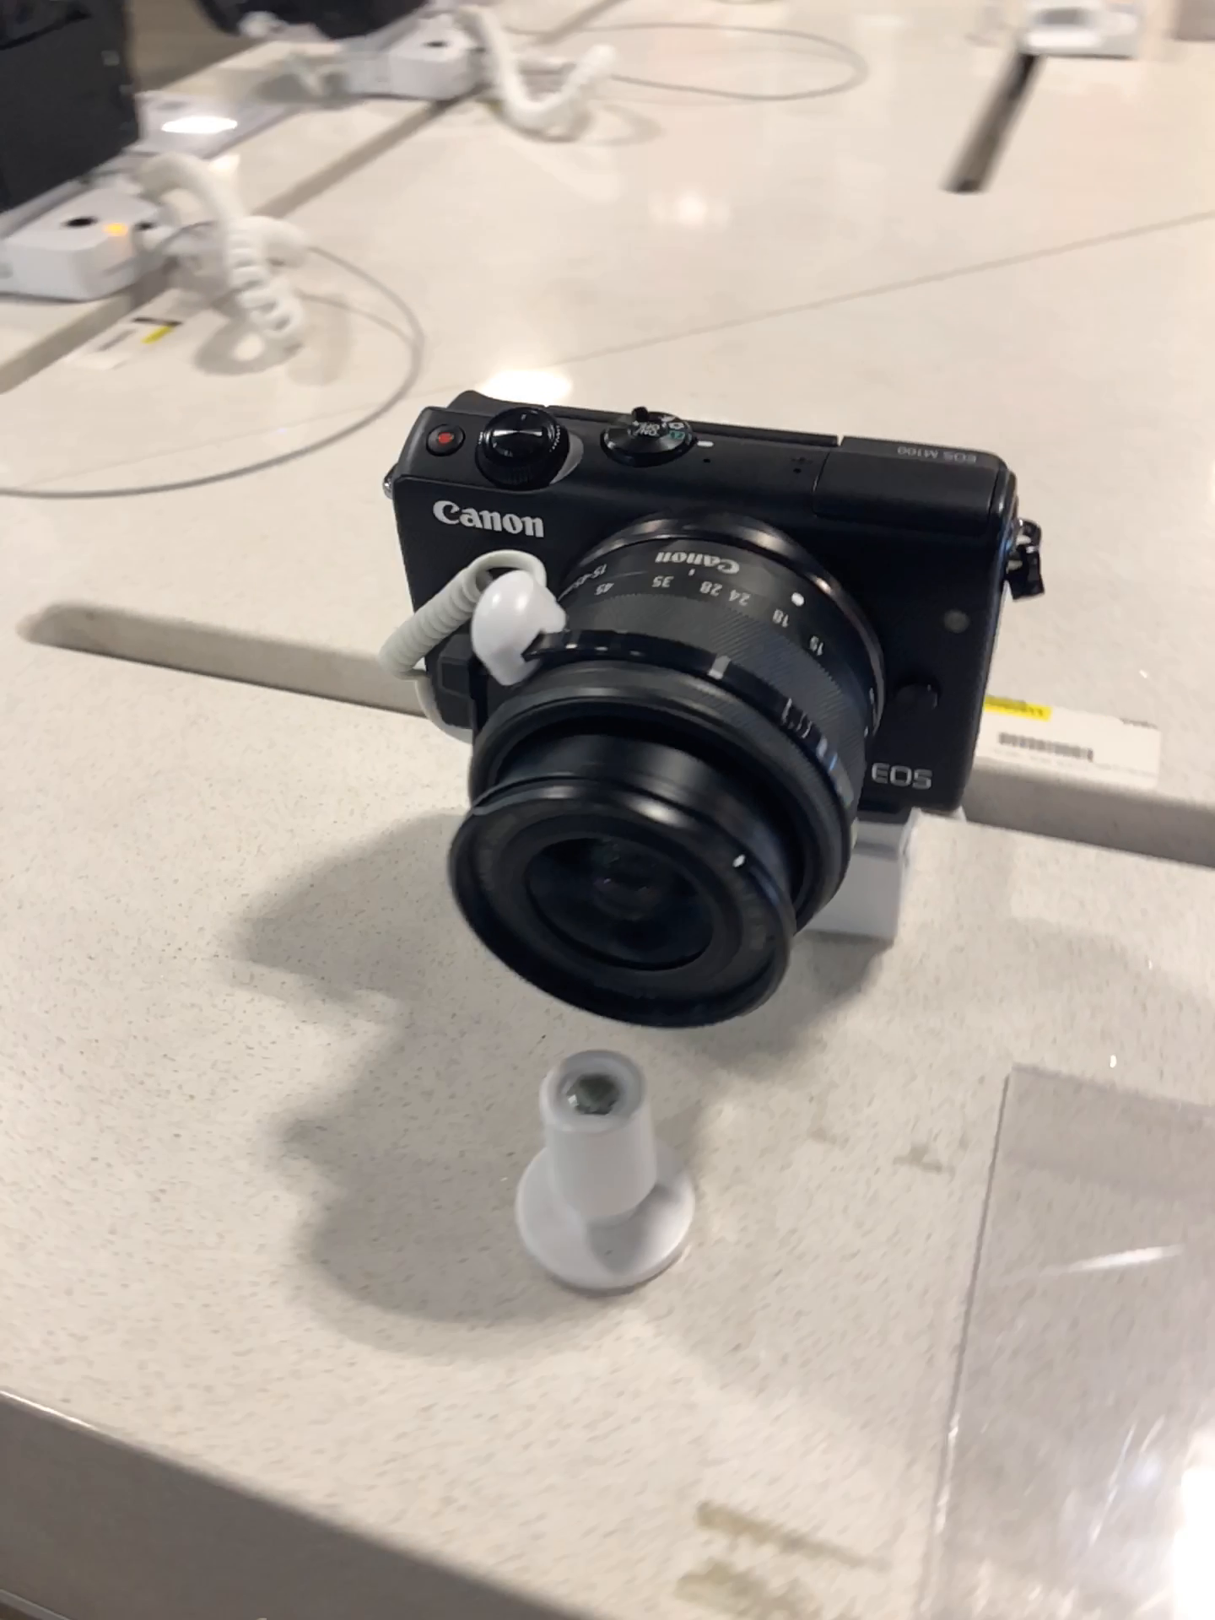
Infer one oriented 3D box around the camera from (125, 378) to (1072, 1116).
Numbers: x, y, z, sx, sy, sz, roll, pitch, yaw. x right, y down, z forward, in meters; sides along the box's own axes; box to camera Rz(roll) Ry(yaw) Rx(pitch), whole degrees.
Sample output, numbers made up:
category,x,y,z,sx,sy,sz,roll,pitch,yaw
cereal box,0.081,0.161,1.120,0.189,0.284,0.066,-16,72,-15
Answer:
category,x,y,z,sx,sy,sz,roll,pitch,yaw
camera,0.005,-0.019,0.224,0.120,0.060,0.091,12,43,17
